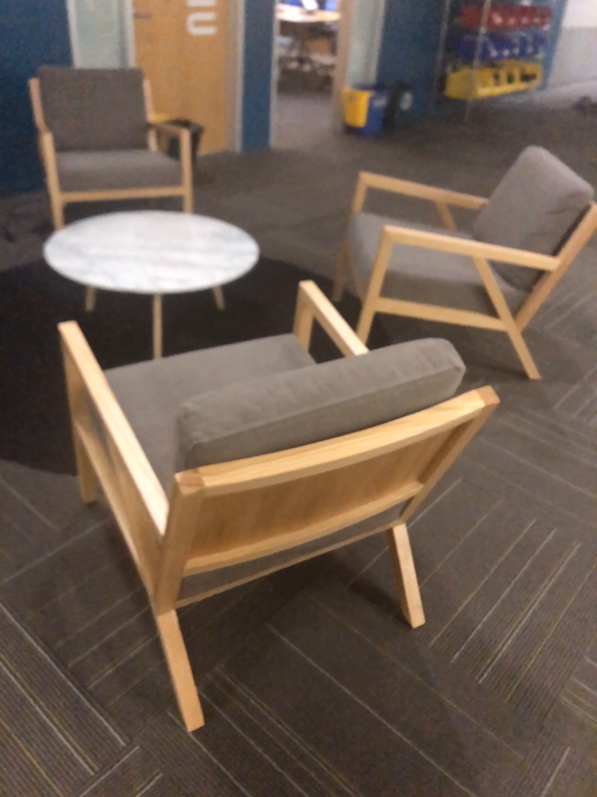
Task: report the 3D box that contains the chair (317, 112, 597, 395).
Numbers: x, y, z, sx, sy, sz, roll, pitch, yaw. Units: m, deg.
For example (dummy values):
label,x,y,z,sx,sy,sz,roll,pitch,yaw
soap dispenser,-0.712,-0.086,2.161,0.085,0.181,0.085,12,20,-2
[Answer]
label,x,y,z,sx,sy,sz,roll,pitch,yaw
chair,0.591,-0.572,2.602,0.870,0.753,0.726,6,33,-7

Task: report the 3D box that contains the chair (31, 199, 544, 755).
label,x,y,z,sx,sy,sz,roll,pitch,yaw
chair,-0.105,0.097,1.531,0.723,0.773,0.804,-13,41,-25
